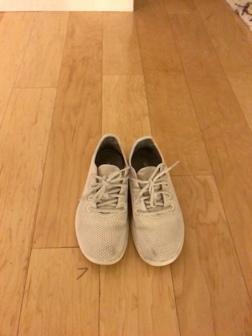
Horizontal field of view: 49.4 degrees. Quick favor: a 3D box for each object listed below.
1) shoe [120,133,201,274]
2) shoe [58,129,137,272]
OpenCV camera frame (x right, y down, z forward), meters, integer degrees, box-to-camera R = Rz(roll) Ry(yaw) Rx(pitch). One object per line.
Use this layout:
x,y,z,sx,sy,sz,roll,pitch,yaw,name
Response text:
0.052,0.055,0.538,0.120,0.070,0.272,-1,53,-2,shoe
-0.042,0.049,0.544,0.120,0.070,0.282,2,53,0,shoe
